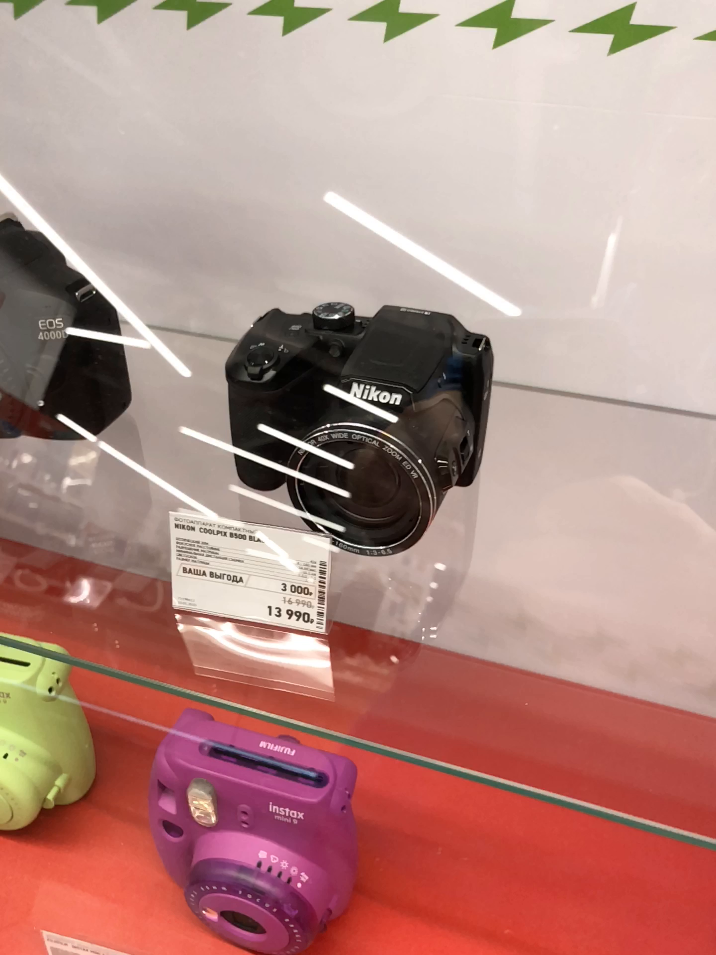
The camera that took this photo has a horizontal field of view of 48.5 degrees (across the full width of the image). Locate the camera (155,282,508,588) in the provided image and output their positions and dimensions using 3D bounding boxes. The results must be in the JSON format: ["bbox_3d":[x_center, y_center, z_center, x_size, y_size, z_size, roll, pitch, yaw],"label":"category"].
[{"bbox_3d":[-0.006,-0.025,0.343,0.115,0.070,0.101,12,38,15],"label":"camera"}]
